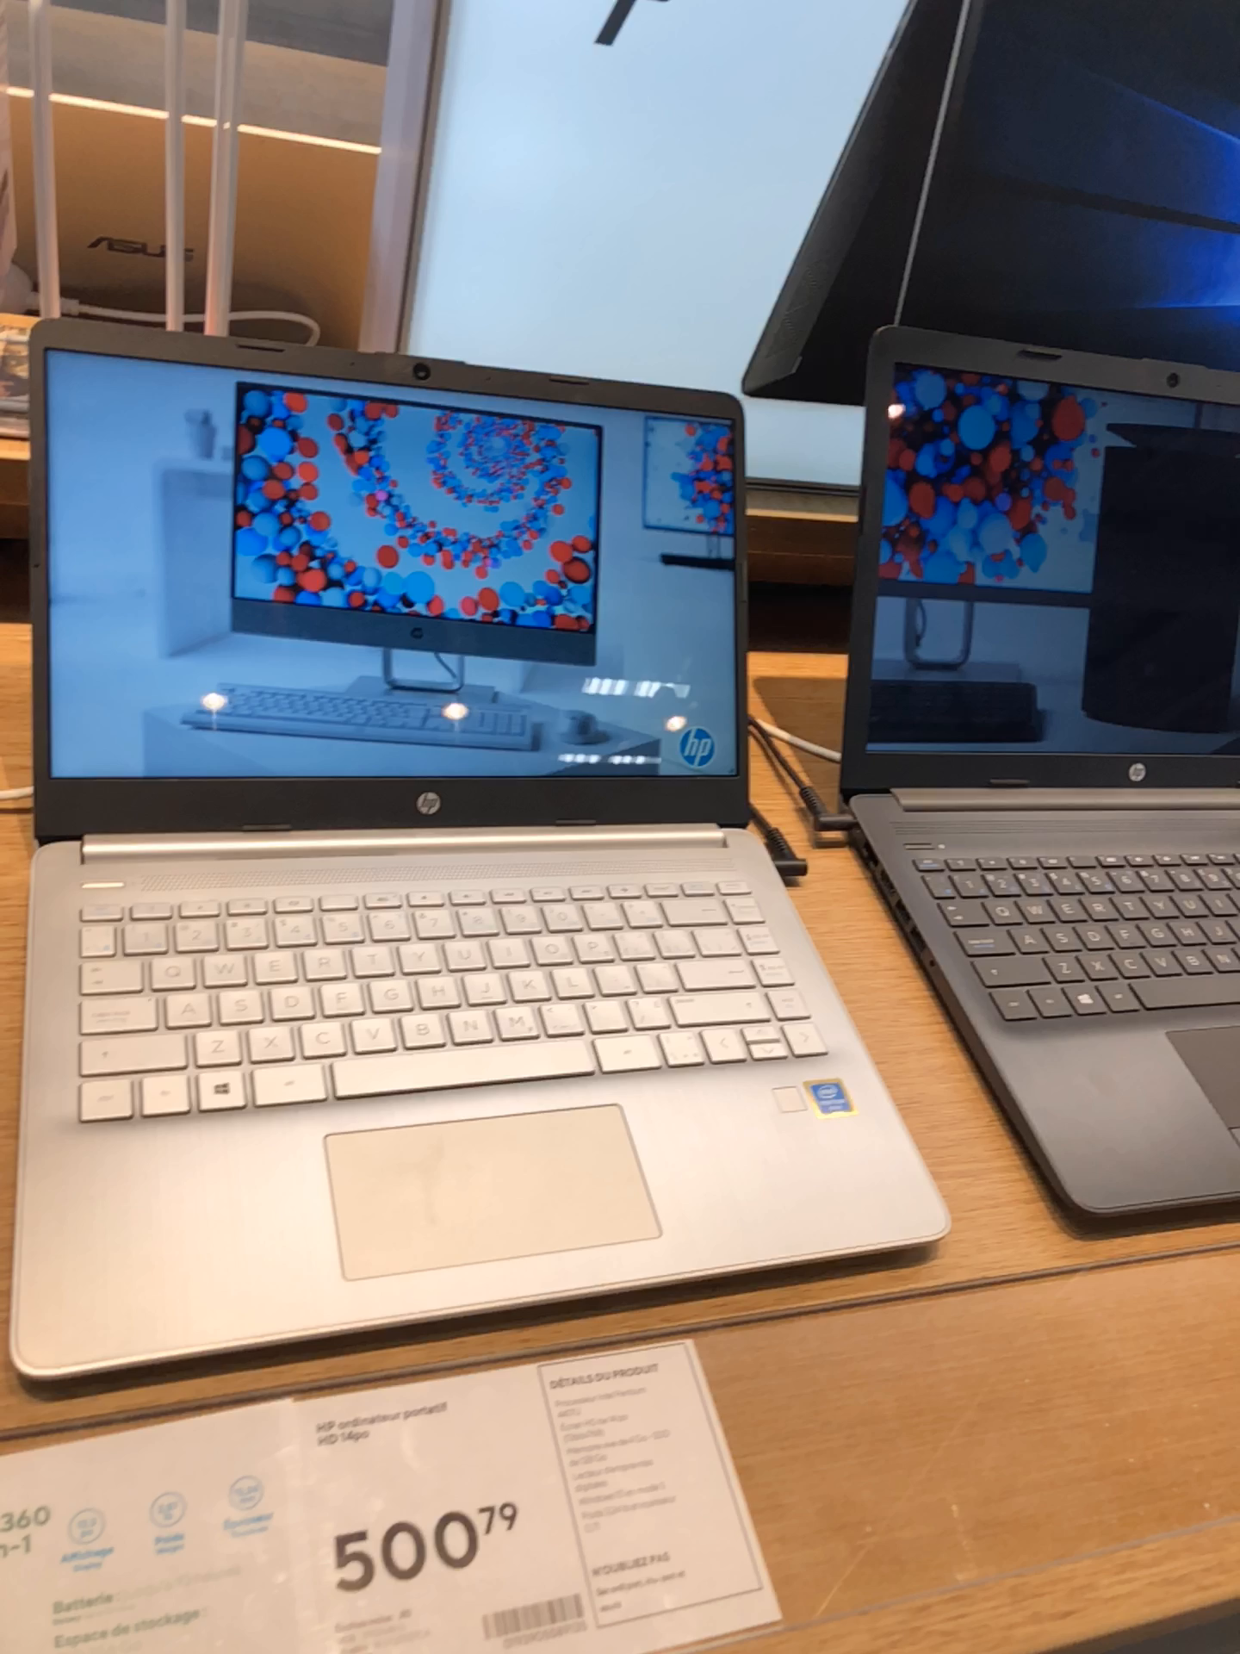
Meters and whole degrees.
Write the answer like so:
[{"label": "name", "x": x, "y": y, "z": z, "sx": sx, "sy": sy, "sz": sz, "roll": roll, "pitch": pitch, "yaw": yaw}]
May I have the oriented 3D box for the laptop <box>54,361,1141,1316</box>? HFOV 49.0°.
[{"label": "laptop", "x": -0.051, "y": -0.027, "z": 0.546, "sx": 0.308, "sy": 0.167, "sz": 0.347, "roll": -2, "pitch": 41, "yaw": -18}]
